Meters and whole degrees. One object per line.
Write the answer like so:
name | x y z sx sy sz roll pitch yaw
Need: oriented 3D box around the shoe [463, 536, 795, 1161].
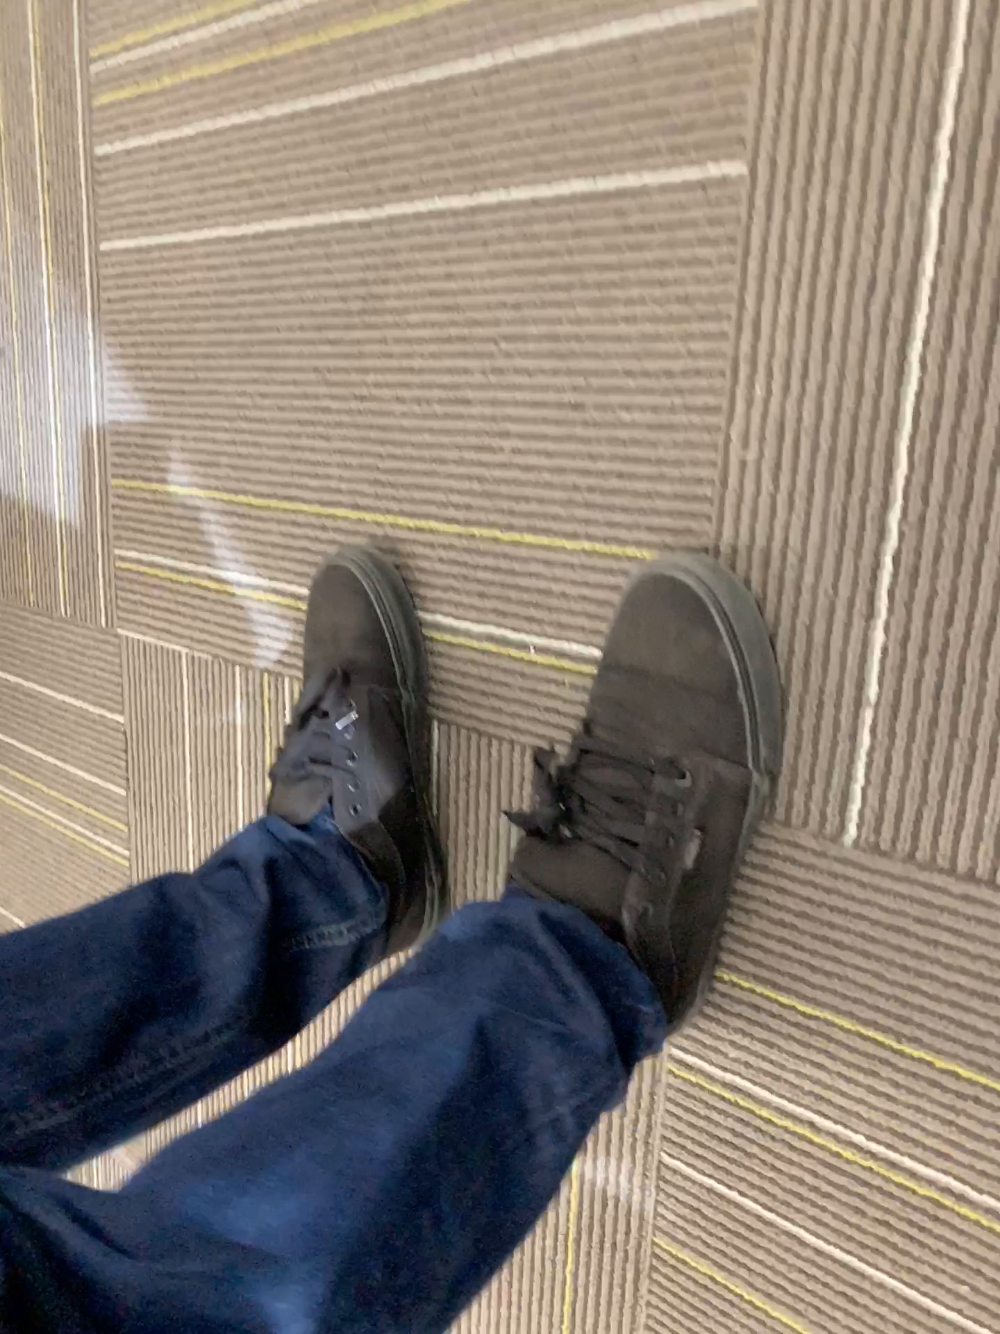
shoe | 0.065 0.085 0.547 0.110 0.113 0.291 14 108 38

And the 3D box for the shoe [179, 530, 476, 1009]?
shoe | -0.116 0.063 0.699 0.110 0.113 0.291 -5 96 41
